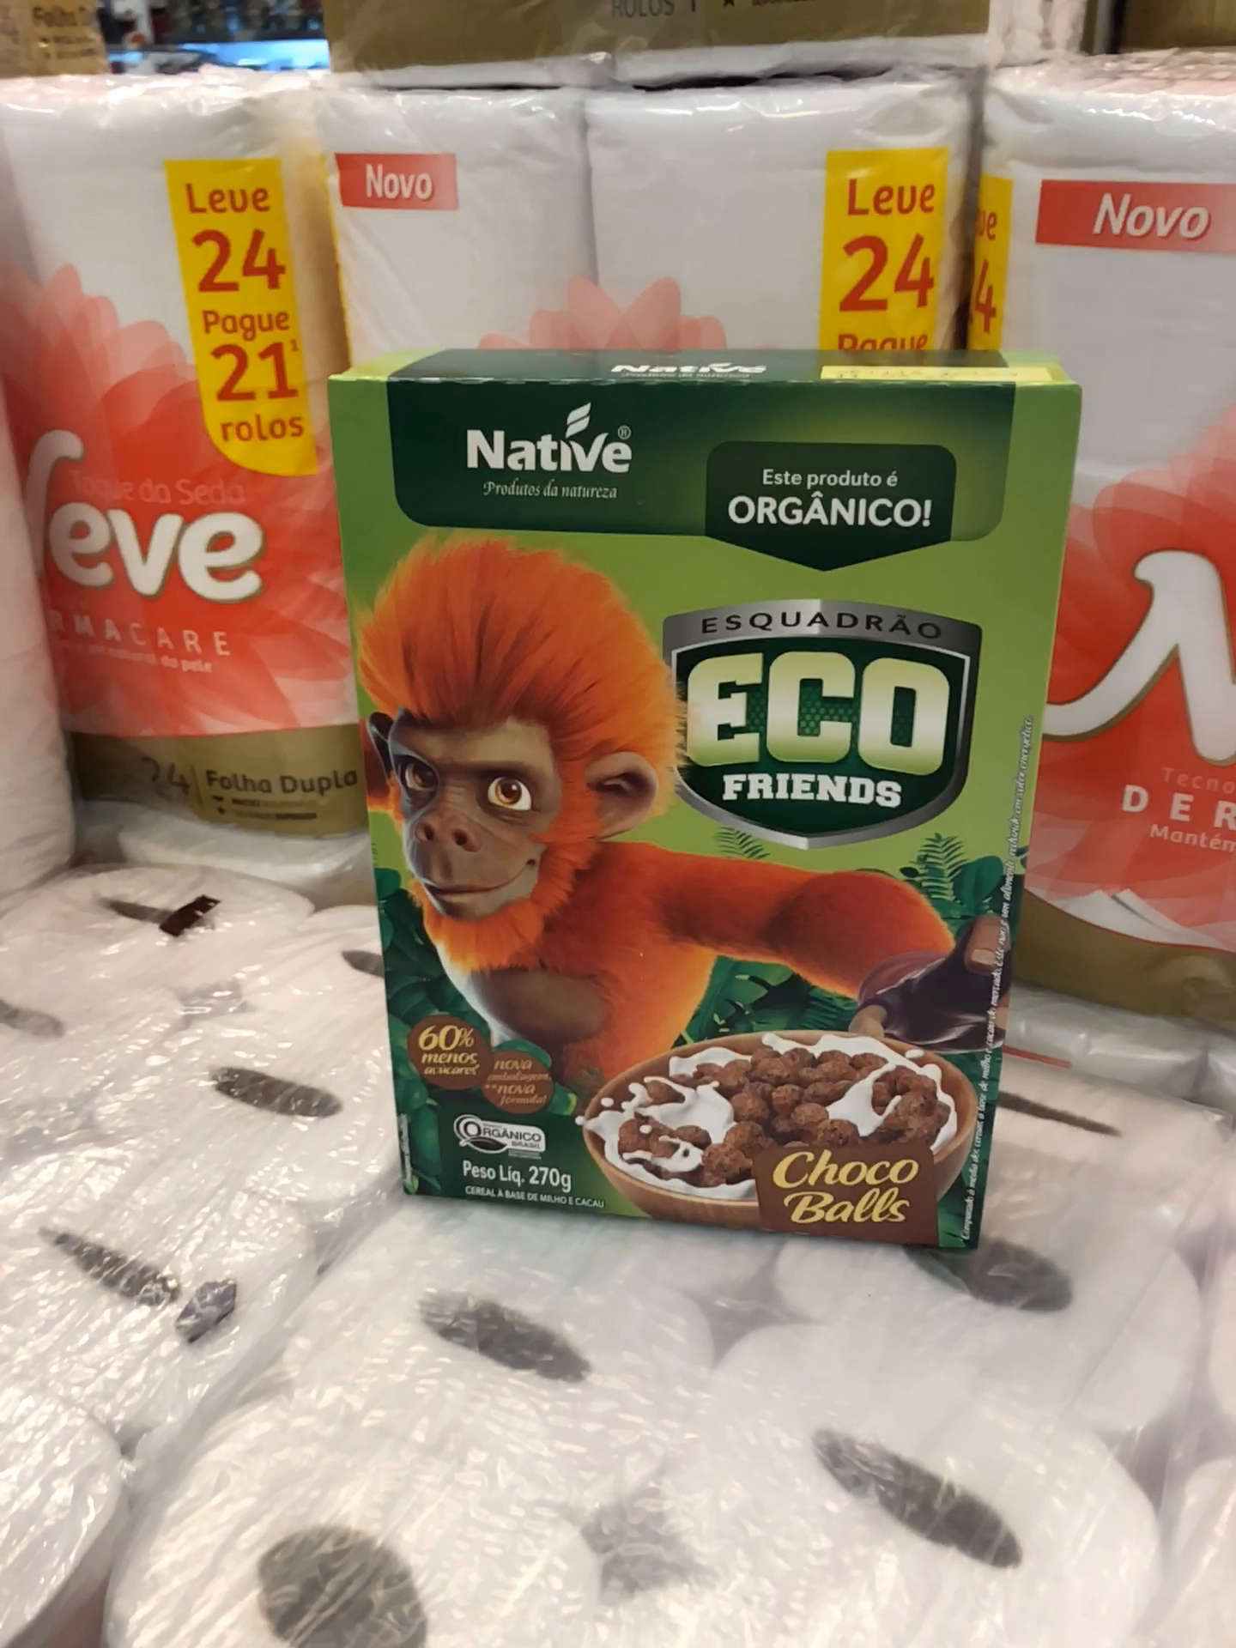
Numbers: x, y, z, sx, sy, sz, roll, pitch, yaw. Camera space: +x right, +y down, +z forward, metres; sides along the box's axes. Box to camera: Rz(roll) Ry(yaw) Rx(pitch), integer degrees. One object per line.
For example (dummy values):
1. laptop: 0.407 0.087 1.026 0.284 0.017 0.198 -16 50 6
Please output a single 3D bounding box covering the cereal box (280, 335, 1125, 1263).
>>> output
1. cereal box: 0.019 -0.005 0.363 0.180 0.228 0.060 4 24 10
